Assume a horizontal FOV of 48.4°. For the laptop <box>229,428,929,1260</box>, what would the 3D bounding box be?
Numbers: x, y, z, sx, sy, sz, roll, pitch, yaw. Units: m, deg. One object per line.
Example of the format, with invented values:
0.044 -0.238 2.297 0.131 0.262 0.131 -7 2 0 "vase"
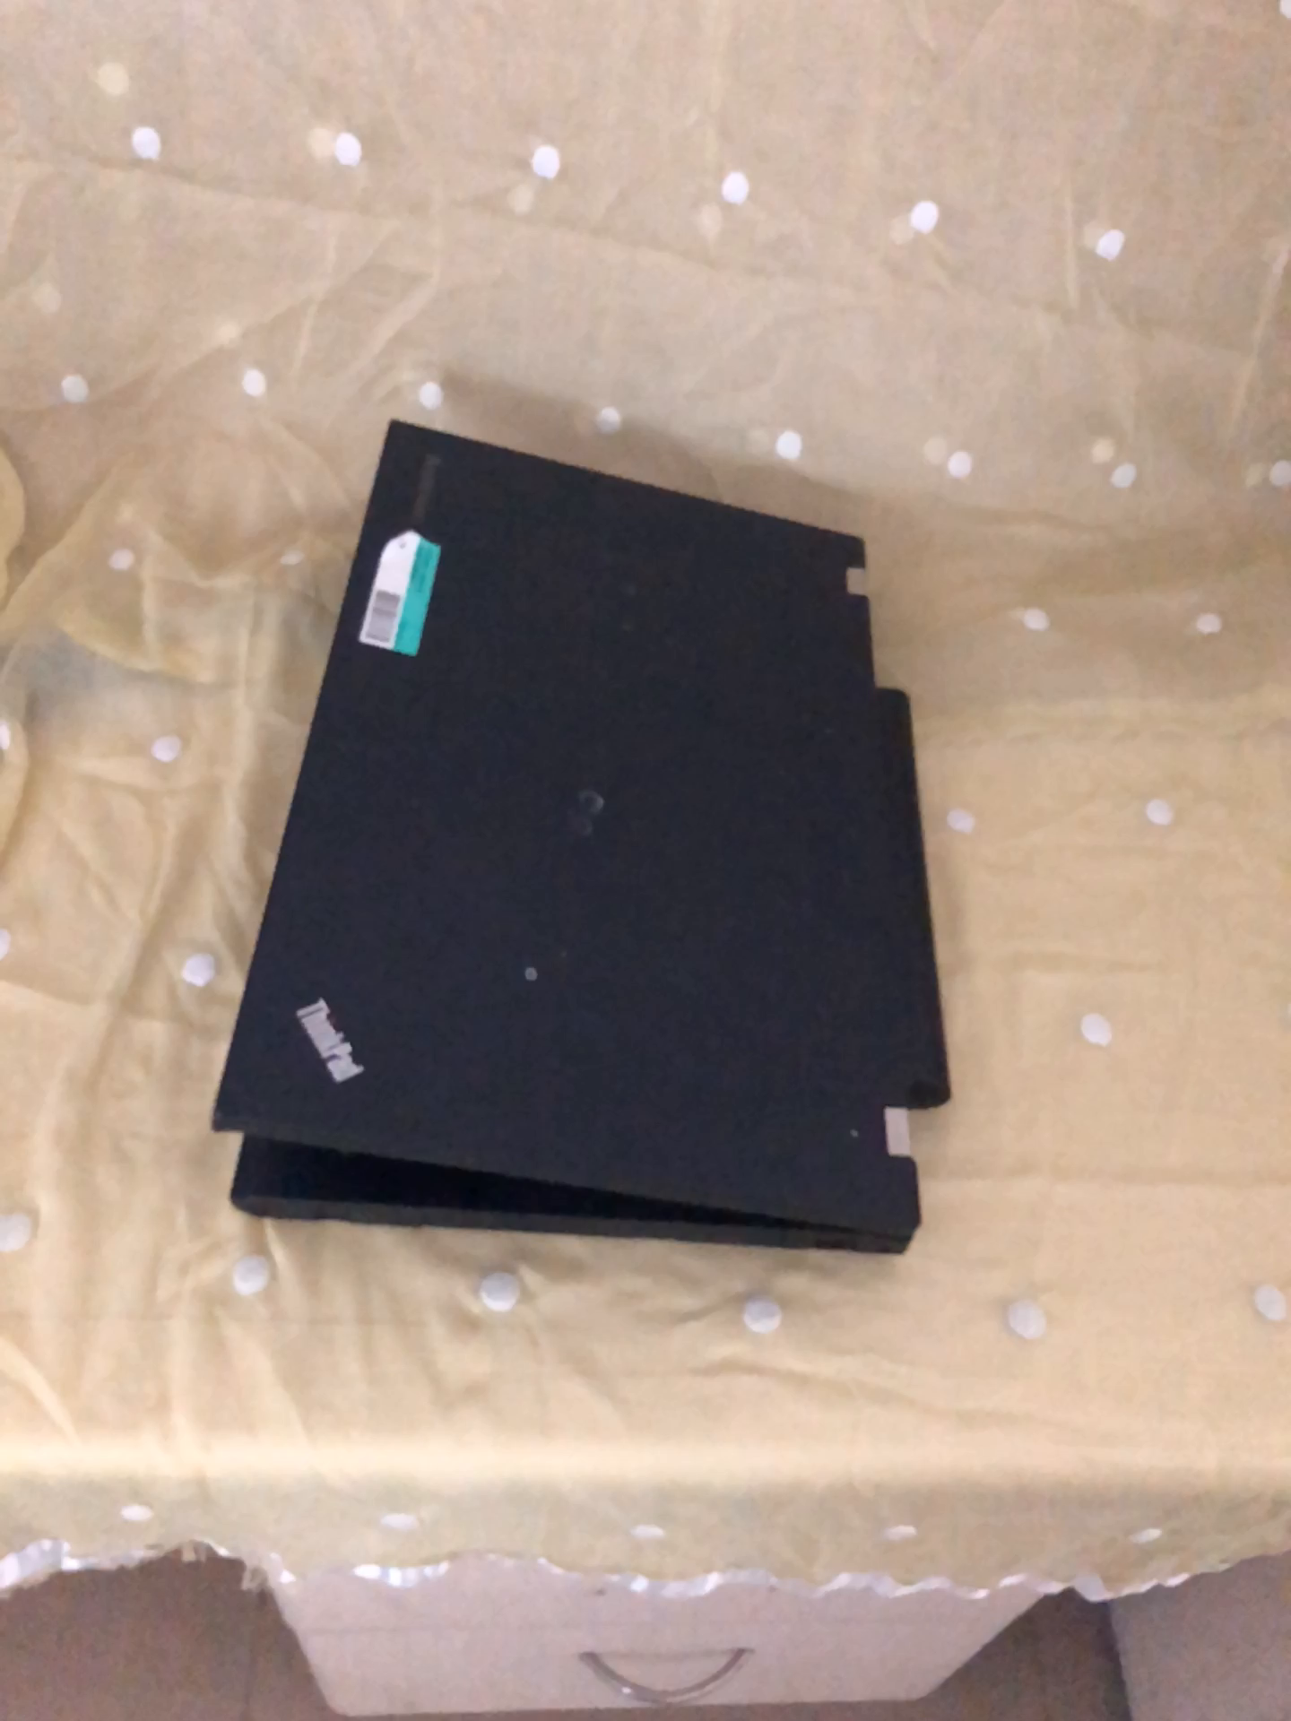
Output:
-0.015 -0.034 0.584 0.225 0.050 0.358 4 53 1 "laptop"
